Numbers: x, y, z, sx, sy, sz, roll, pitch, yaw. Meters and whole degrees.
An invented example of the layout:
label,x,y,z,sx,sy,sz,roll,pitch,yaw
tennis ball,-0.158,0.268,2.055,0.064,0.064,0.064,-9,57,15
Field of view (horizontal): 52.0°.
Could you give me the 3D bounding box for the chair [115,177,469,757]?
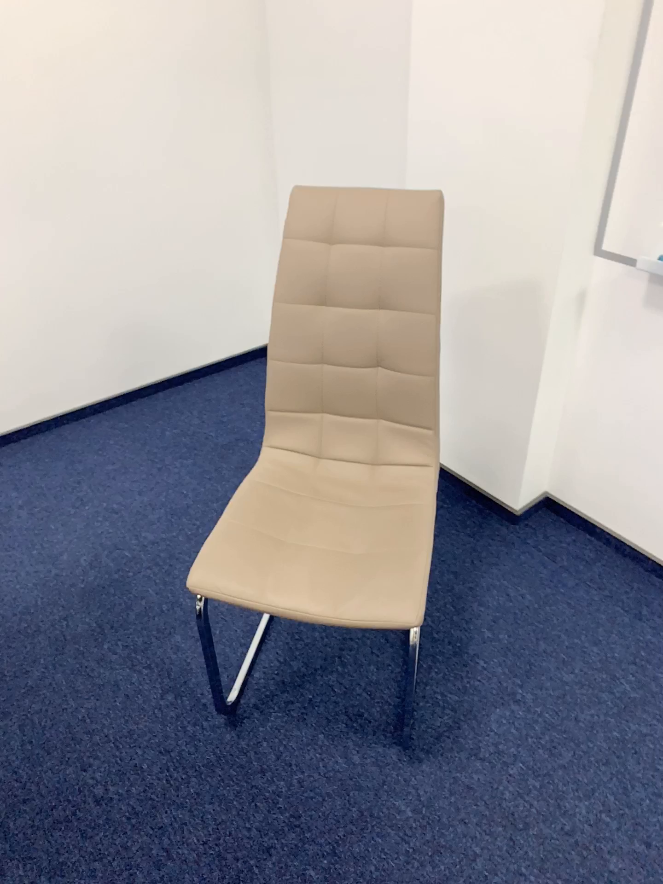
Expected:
label,x,y,z,sx,sy,sz,roll,pitch,yaw
chair,-0.008,0.059,1.351,0.440,0.984,0.533,6,35,10
